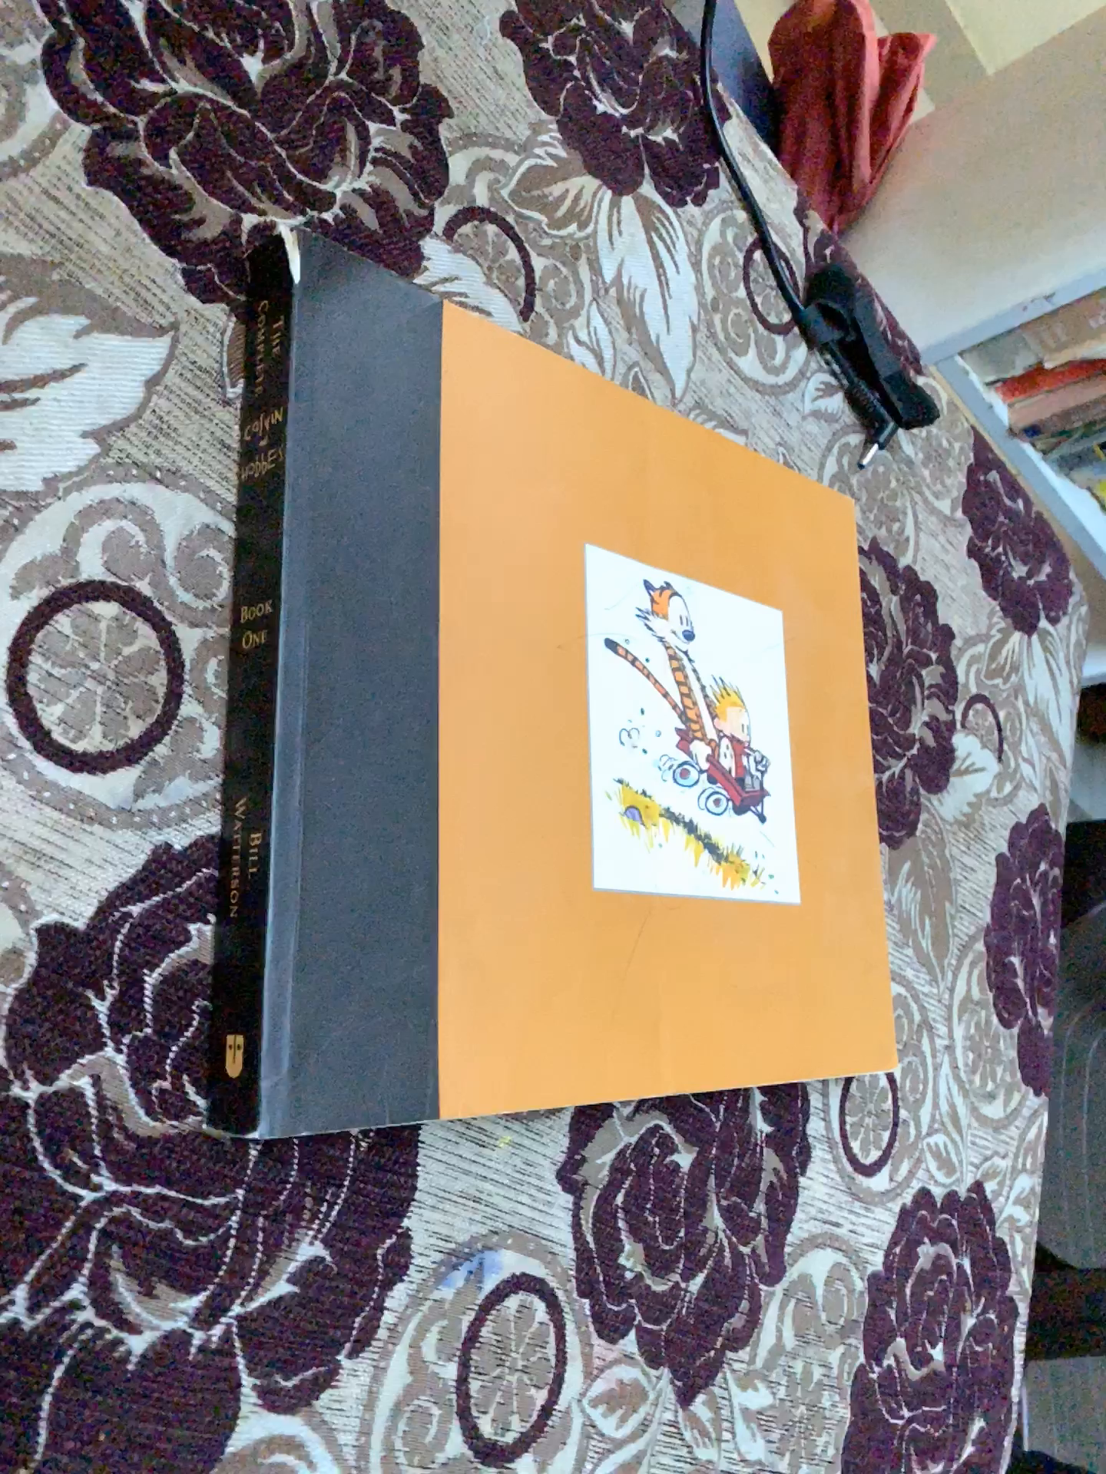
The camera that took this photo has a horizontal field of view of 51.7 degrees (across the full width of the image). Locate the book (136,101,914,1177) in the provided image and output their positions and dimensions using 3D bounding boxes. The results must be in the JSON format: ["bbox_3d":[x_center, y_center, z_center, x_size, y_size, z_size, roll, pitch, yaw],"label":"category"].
[{"bbox_3d":[0.013,-0.016,0.367,0.271,0.040,0.260,10,72,-42],"label":"book"}]
